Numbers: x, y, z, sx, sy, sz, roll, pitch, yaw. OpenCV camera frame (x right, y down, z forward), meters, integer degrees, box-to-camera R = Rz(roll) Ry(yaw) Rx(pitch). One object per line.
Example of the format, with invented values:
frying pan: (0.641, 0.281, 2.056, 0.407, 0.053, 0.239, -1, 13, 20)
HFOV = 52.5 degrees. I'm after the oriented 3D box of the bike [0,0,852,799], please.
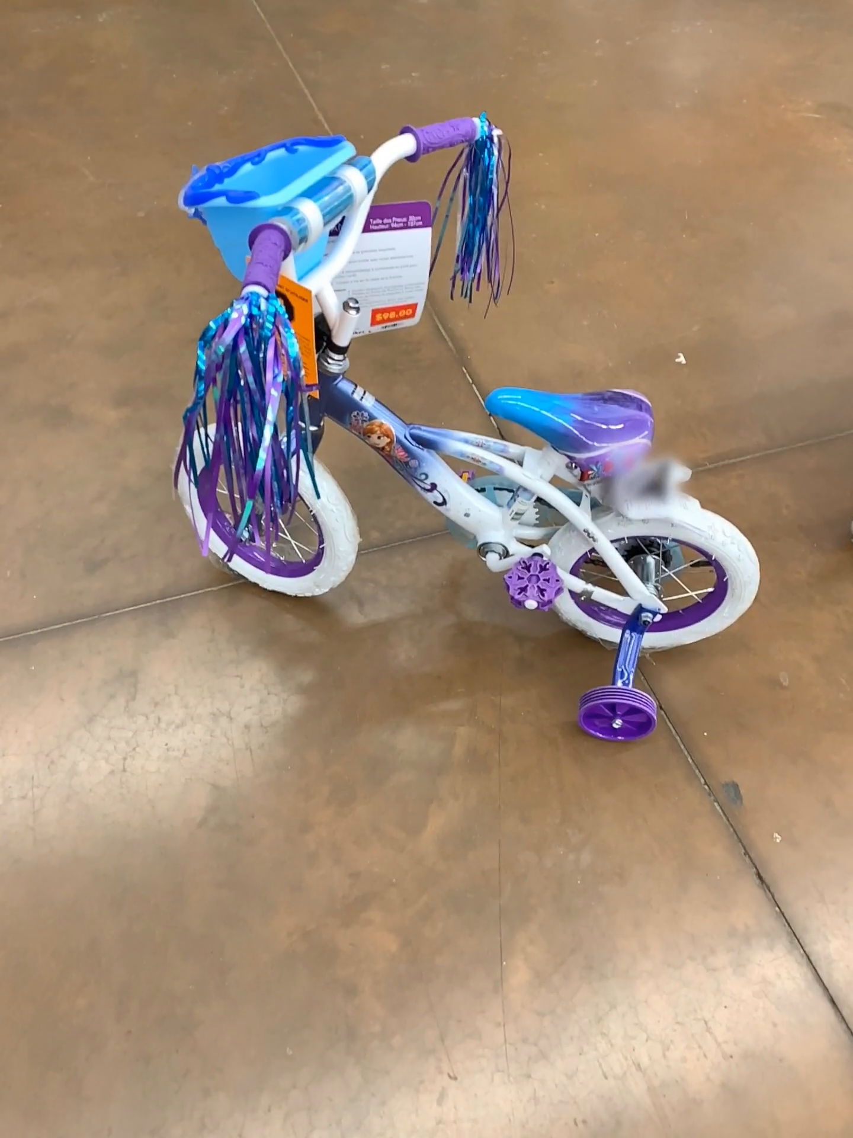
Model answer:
bike: (0.062, -0.155, 1.008, 0.804, 0.633, 0.441, 13, 52, 2)
